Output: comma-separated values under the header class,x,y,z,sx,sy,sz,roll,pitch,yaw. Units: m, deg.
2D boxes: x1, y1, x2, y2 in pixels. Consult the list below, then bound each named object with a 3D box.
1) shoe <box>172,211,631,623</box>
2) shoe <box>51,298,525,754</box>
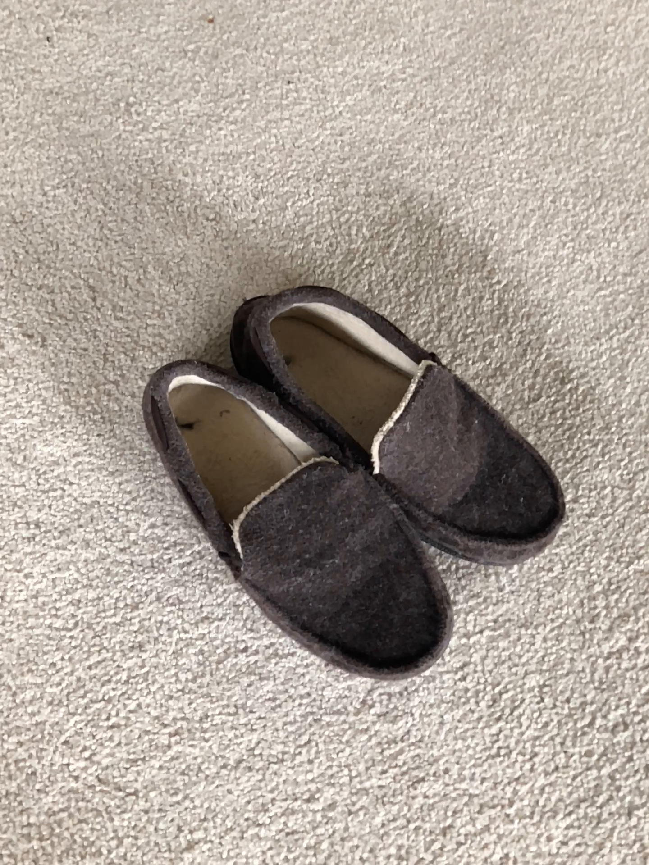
class,x,y,z,sx,sy,sz,roll,pitch,yaw
shoe,0.048,-0.009,0.539,0.316,0.096,0.119,40,75,7
shoe,-0.030,0.063,0.517,0.317,0.096,0.120,42,75,8
